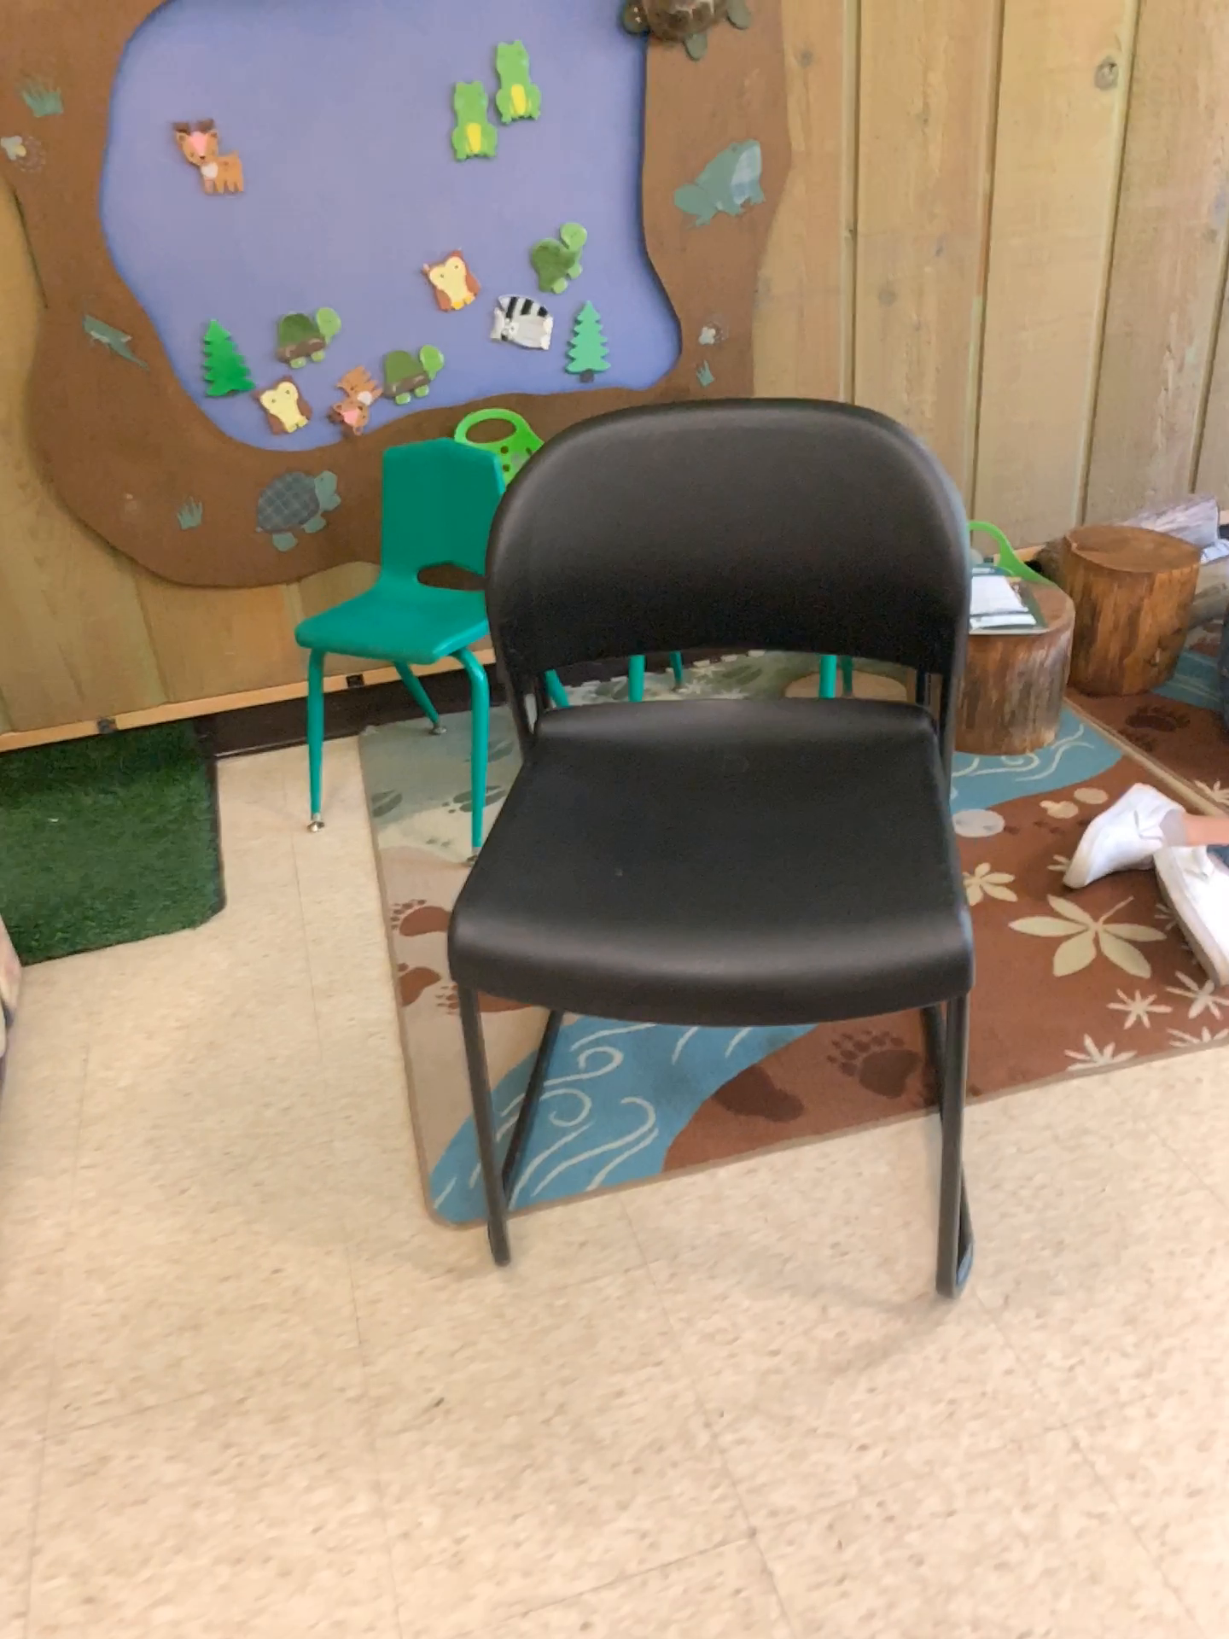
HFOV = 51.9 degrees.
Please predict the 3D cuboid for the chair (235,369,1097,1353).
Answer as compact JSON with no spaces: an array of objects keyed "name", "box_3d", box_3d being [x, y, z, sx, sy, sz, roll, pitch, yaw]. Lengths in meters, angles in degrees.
[{"name":"chair","box_3d":[0.088,0.019,1.298,0.590,0.785,0.573,0,30,9]}]
